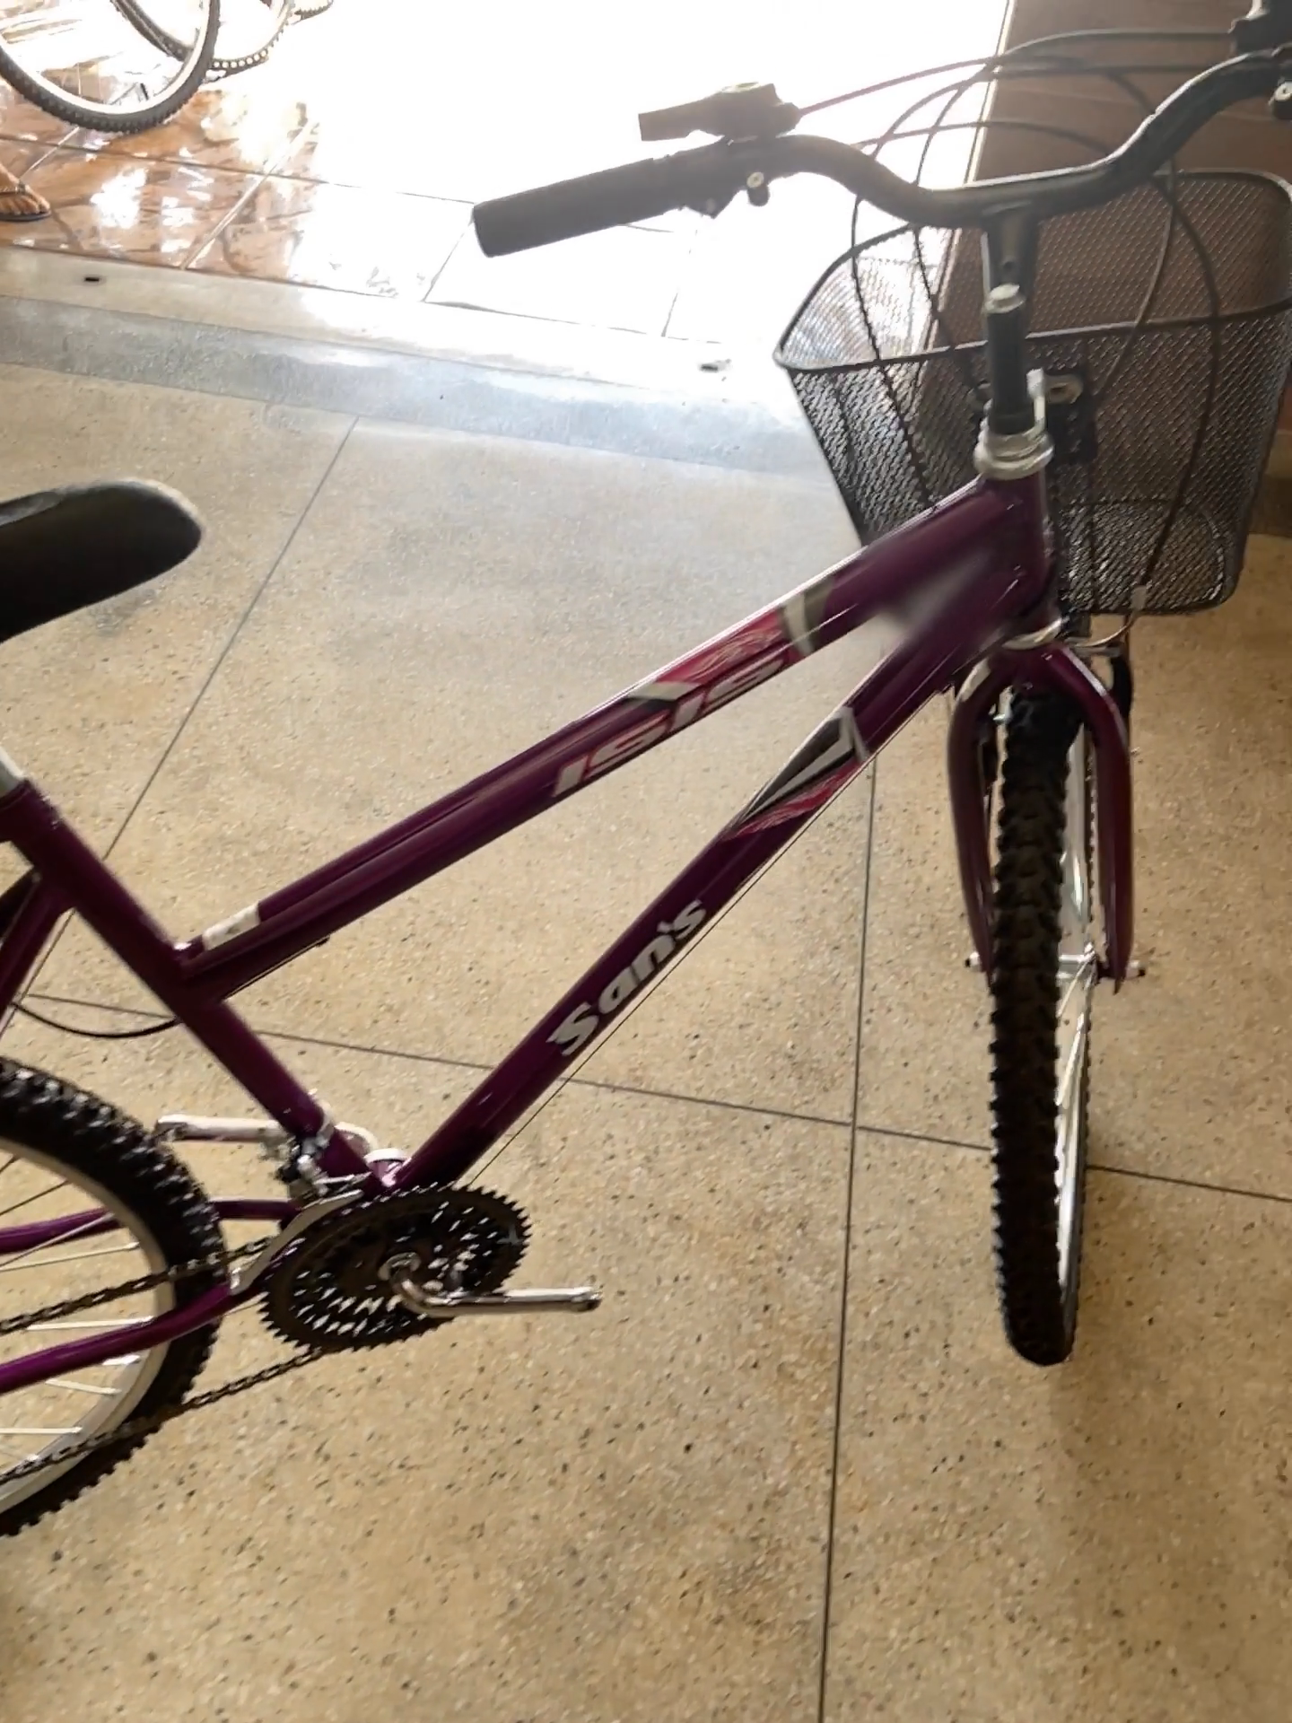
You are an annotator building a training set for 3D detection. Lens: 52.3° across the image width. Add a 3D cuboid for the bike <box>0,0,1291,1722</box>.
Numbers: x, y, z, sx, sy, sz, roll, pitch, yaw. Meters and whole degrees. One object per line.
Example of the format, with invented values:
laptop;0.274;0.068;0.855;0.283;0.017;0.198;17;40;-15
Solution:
bike;-0.220;-0.011;0.849;1.525;1.035;0.574;-23;54;-20
